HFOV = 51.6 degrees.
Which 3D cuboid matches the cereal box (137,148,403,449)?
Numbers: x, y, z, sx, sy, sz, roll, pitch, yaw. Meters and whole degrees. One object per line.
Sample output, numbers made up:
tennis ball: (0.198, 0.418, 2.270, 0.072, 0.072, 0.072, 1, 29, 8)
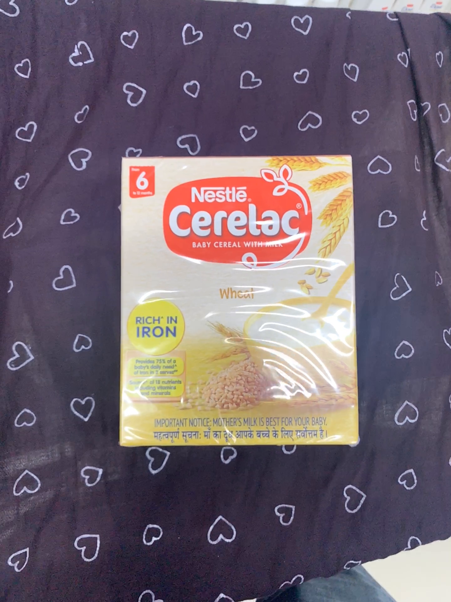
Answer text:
cereal box: (0.023, -0.001, 0.269, 0.140, 0.040, 0.160, 0, 87, 0)
